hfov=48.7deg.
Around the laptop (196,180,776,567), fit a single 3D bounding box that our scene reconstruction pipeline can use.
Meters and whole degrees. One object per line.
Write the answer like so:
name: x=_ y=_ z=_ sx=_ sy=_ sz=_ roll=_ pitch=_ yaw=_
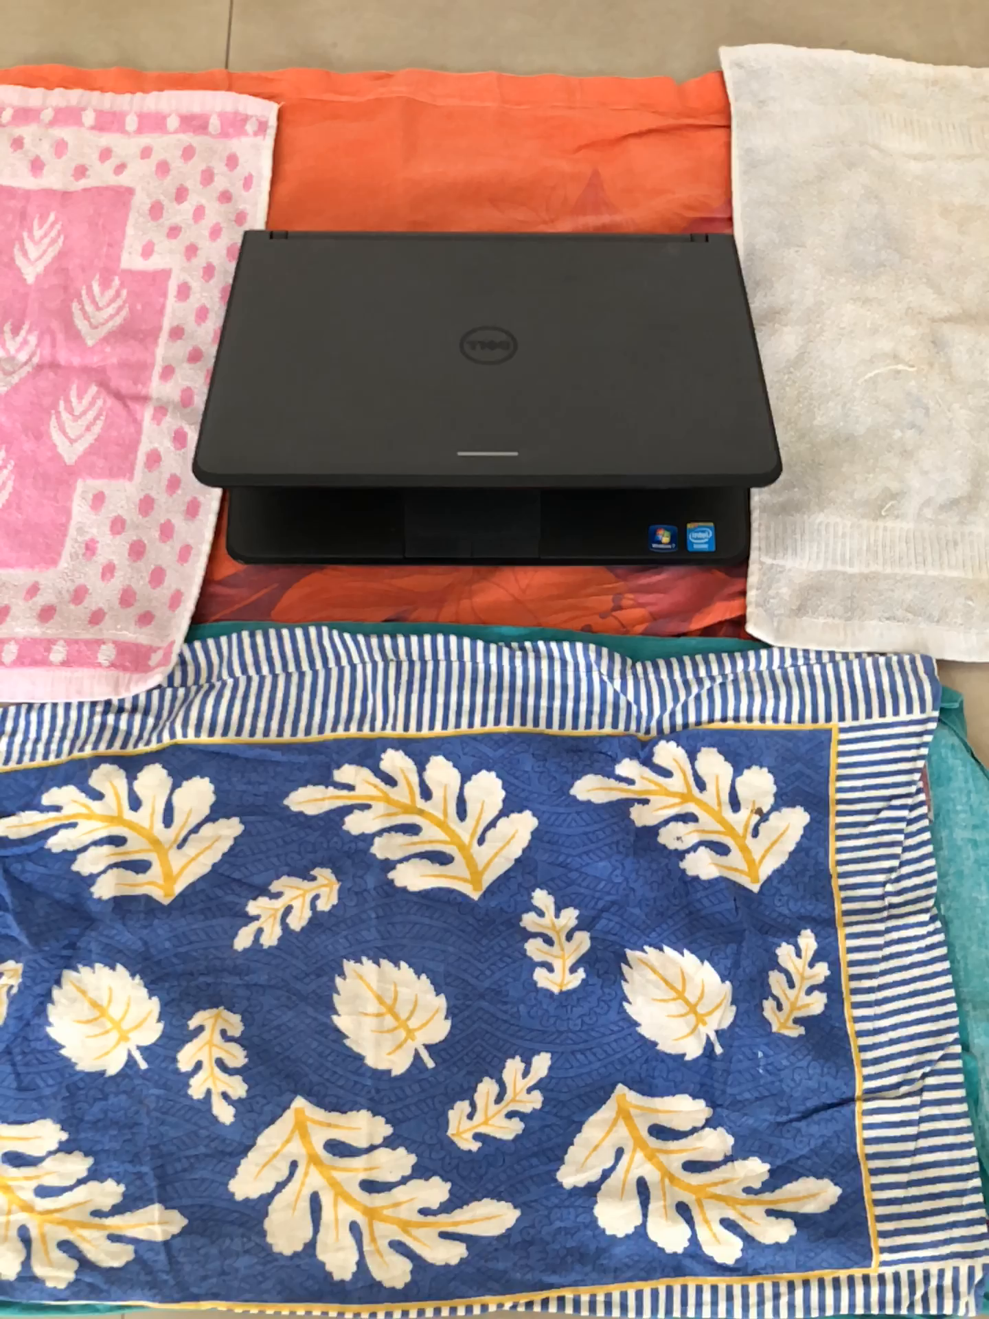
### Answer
laptop: x=-0.004 y=-0.175 z=0.668 sx=0.314 sy=0.078 sz=0.227 roll=0 pitch=70 yaw=-1
